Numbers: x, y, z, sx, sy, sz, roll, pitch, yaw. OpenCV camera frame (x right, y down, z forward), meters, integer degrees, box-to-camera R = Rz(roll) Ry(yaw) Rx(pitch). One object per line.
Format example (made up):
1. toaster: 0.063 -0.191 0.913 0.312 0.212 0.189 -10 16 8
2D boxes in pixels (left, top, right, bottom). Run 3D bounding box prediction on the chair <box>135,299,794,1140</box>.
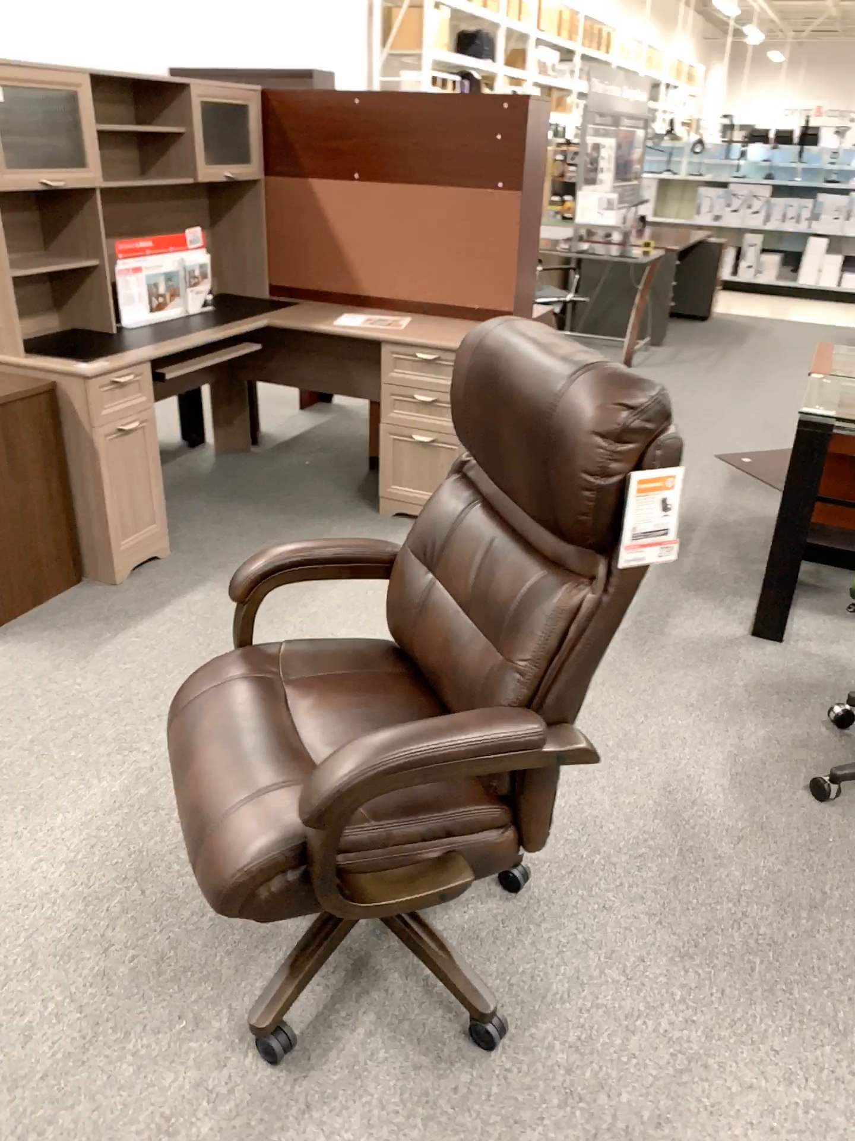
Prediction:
1. chair: -0.042 0.179 1.477 0.700 1.094 0.753 -8 28 -19
